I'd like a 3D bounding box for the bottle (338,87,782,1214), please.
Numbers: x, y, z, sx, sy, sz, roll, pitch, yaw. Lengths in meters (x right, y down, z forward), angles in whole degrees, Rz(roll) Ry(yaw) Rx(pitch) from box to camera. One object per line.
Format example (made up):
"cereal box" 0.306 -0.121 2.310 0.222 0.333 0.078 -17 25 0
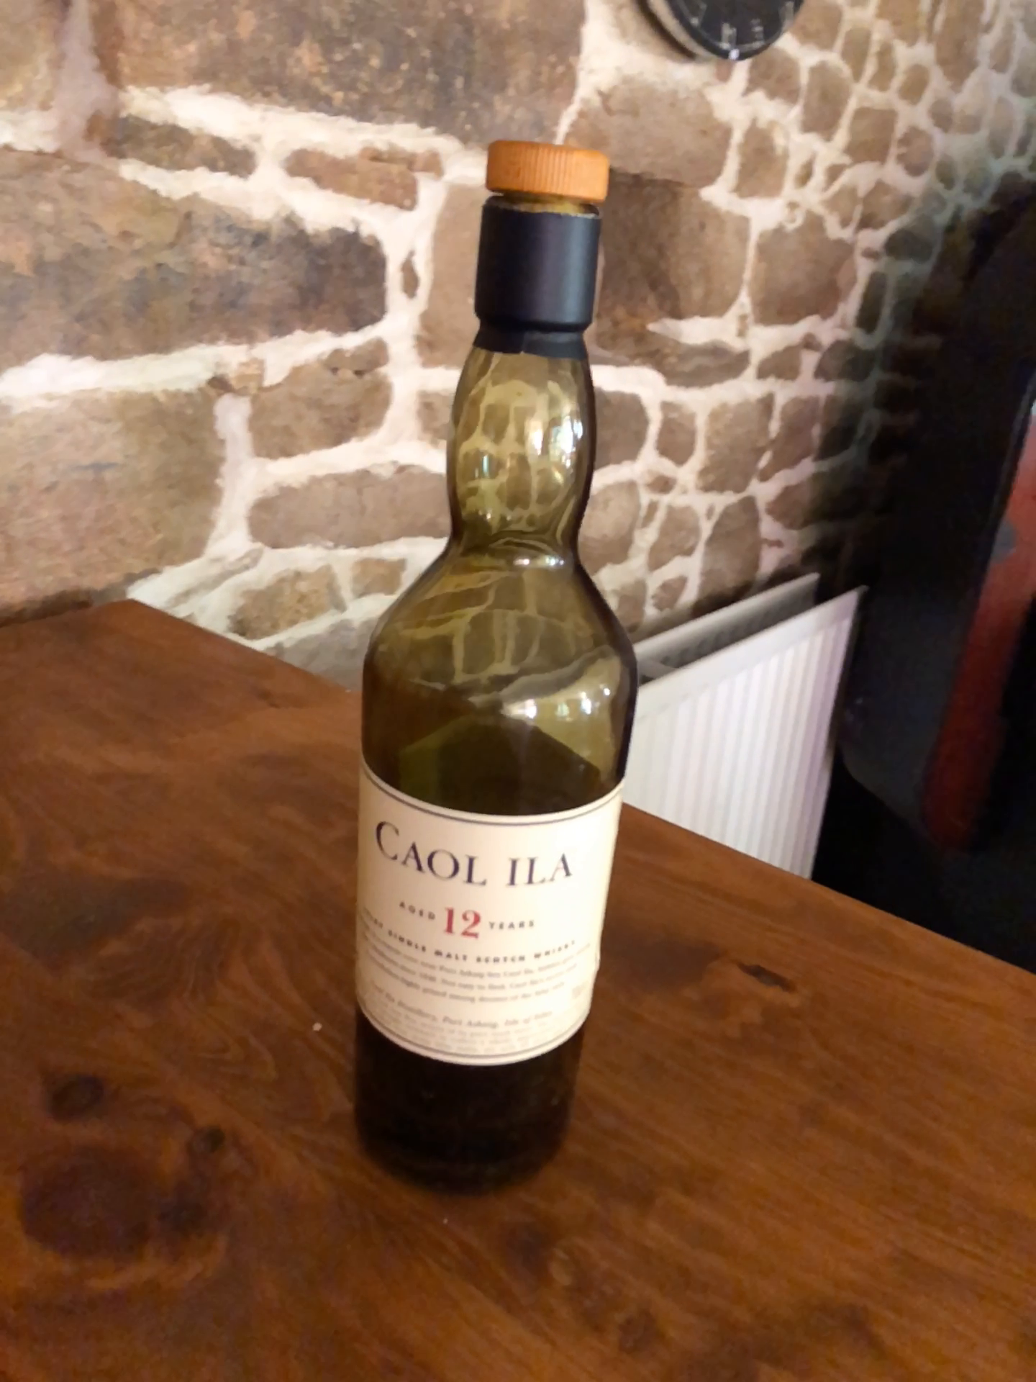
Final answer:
"bottle" 0.001 0.004 0.323 0.080 0.298 0.070 6 22 -1
